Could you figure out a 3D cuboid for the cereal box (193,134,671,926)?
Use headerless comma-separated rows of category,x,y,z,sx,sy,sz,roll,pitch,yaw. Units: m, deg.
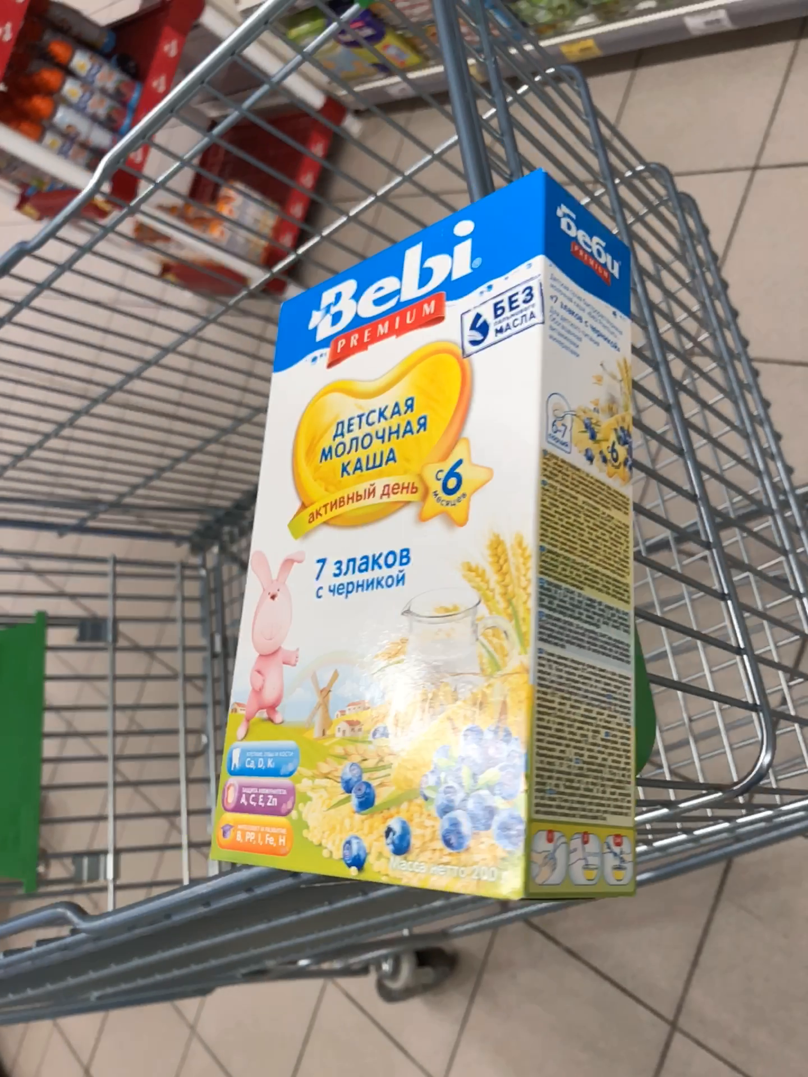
cereal box,0.006,0.002,0.290,0.141,0.050,0.210,-13,66,42
